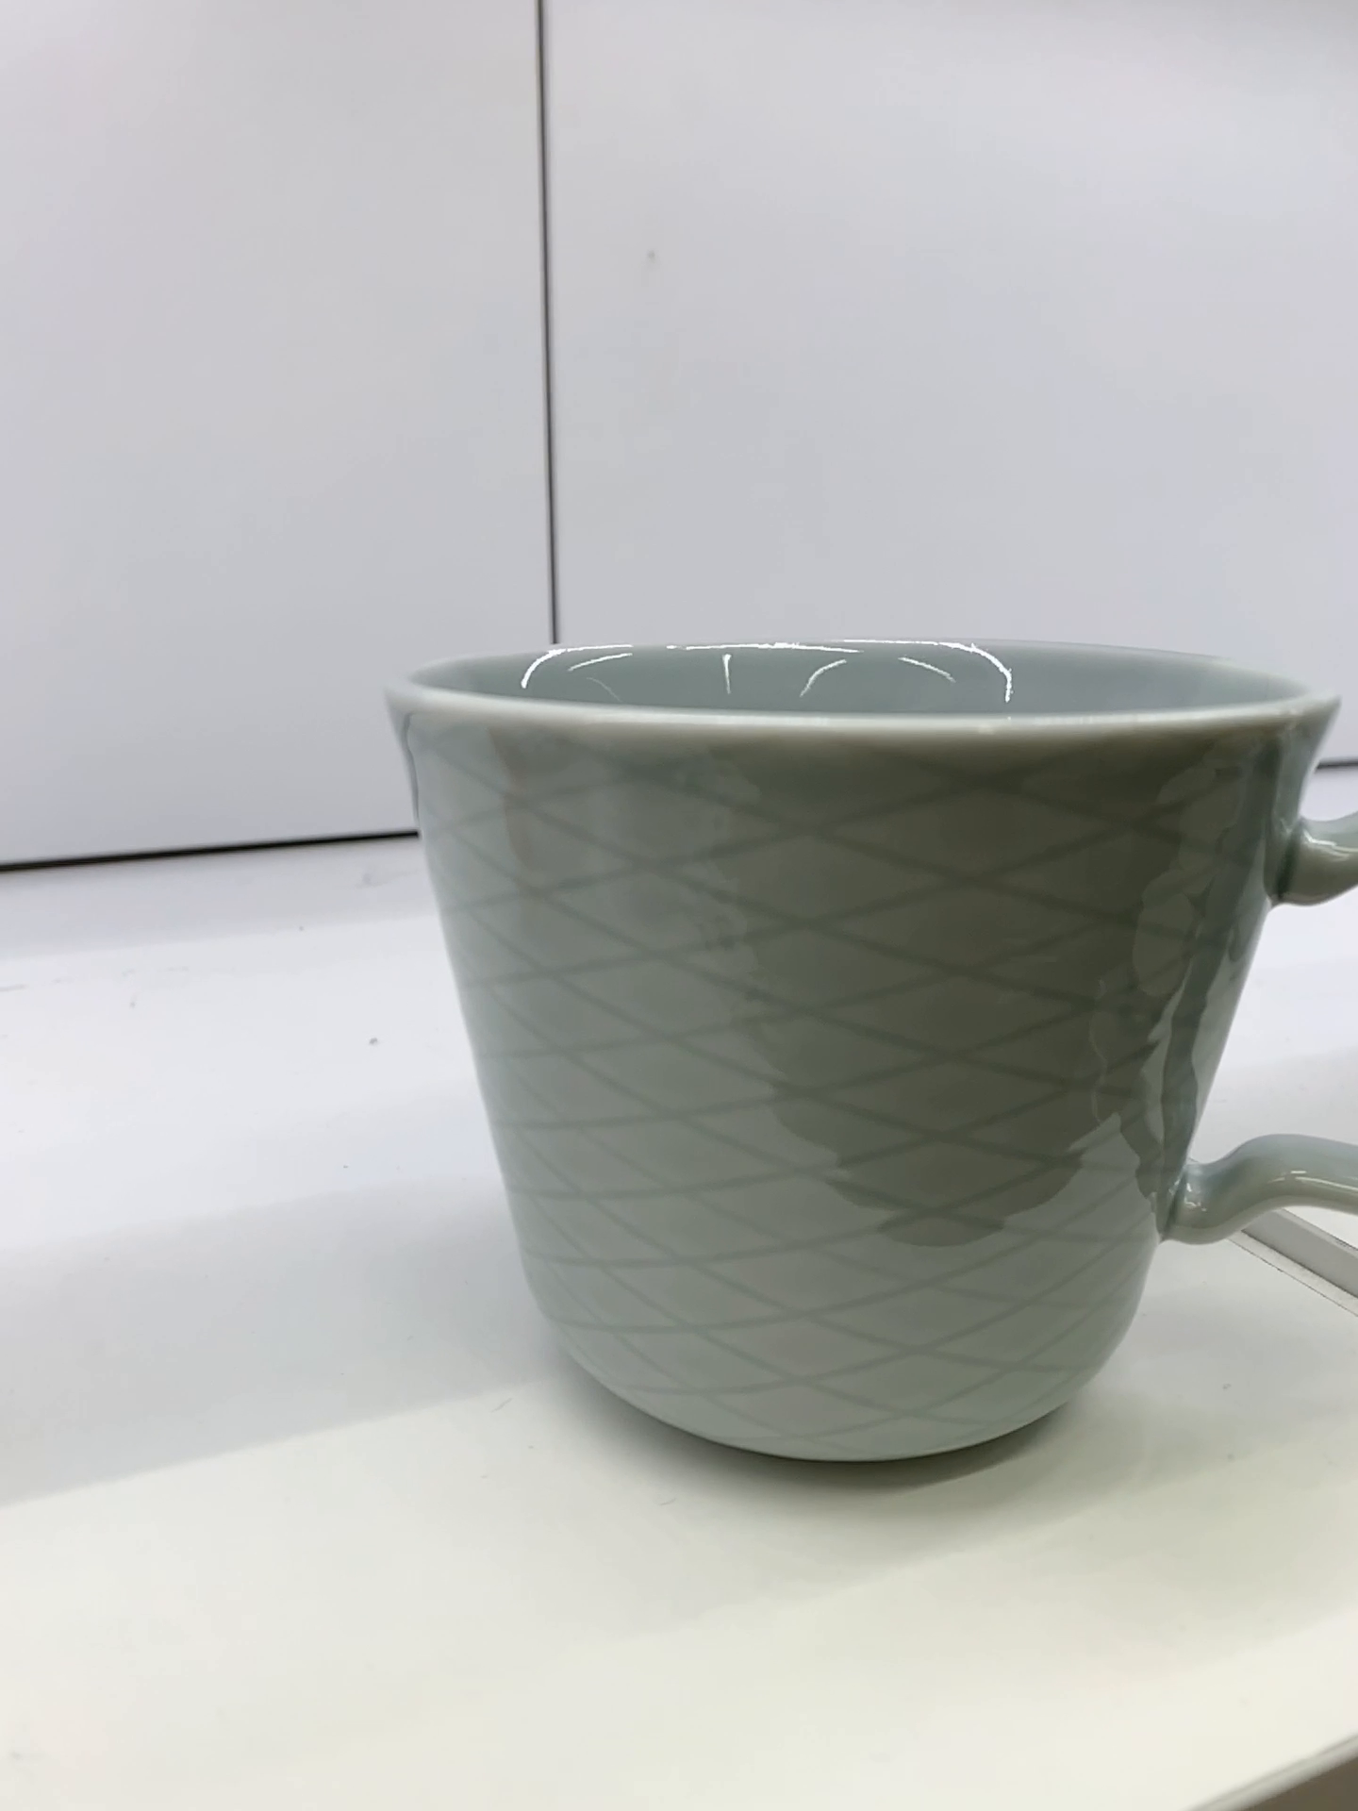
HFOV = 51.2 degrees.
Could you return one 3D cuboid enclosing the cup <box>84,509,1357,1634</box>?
[{"bbox_3d":[0.024,0.003,0.169,0.124,0.089,0.109,-1,16,11],"label":"cup"}]
